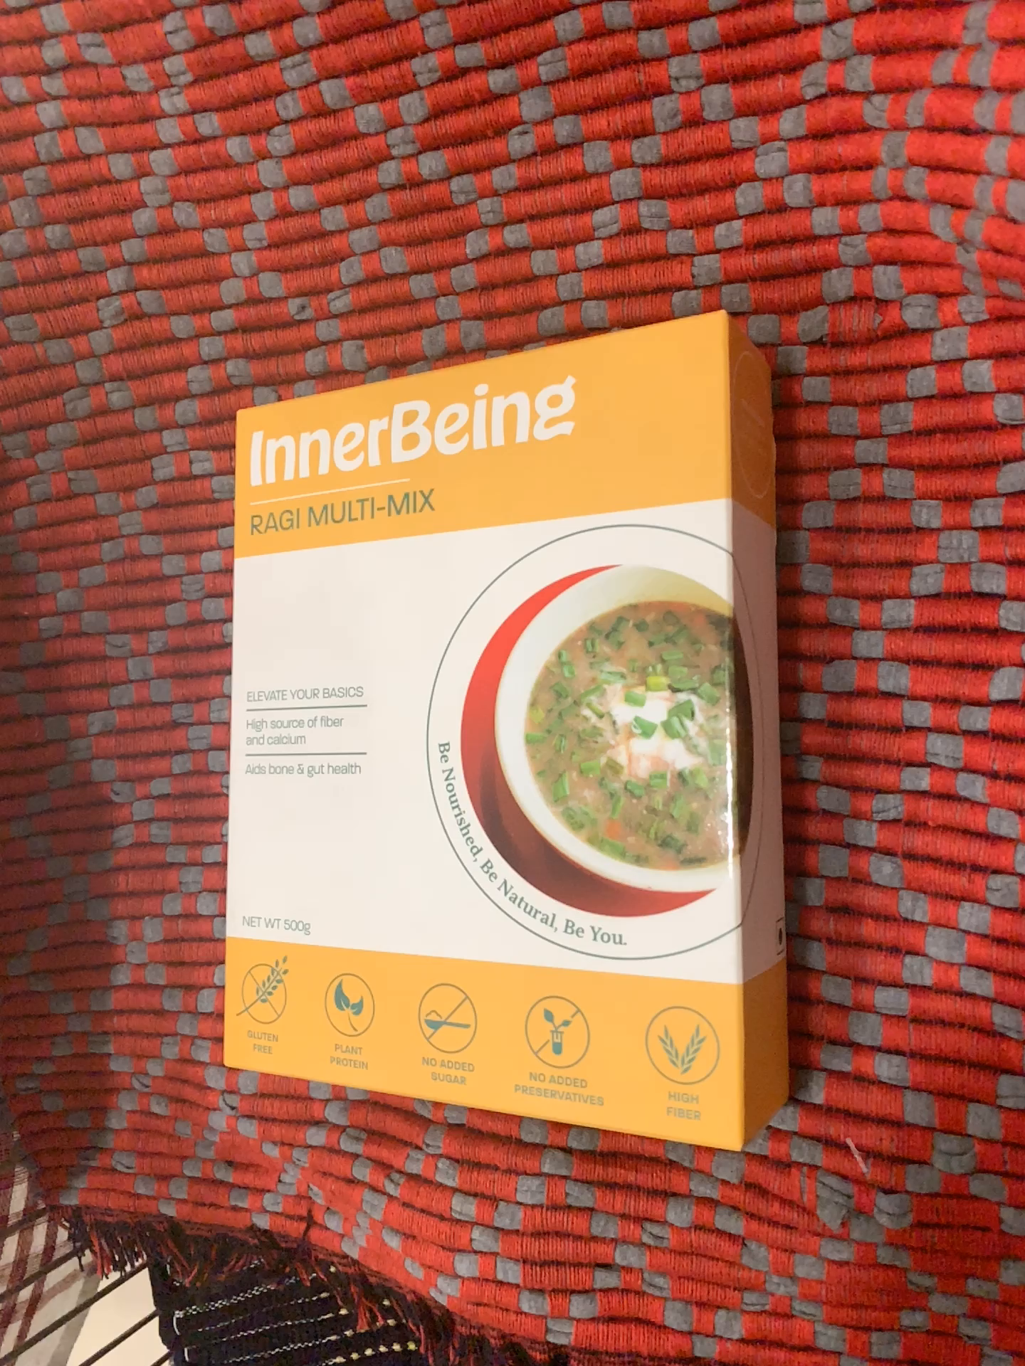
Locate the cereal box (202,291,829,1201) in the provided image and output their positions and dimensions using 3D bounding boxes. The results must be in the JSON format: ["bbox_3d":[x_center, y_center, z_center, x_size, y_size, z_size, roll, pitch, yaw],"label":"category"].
[{"bbox_3d":[0.000,0.015,0.287,0.151,0.070,0.190,-2,84,28],"label":"cereal box"}]
